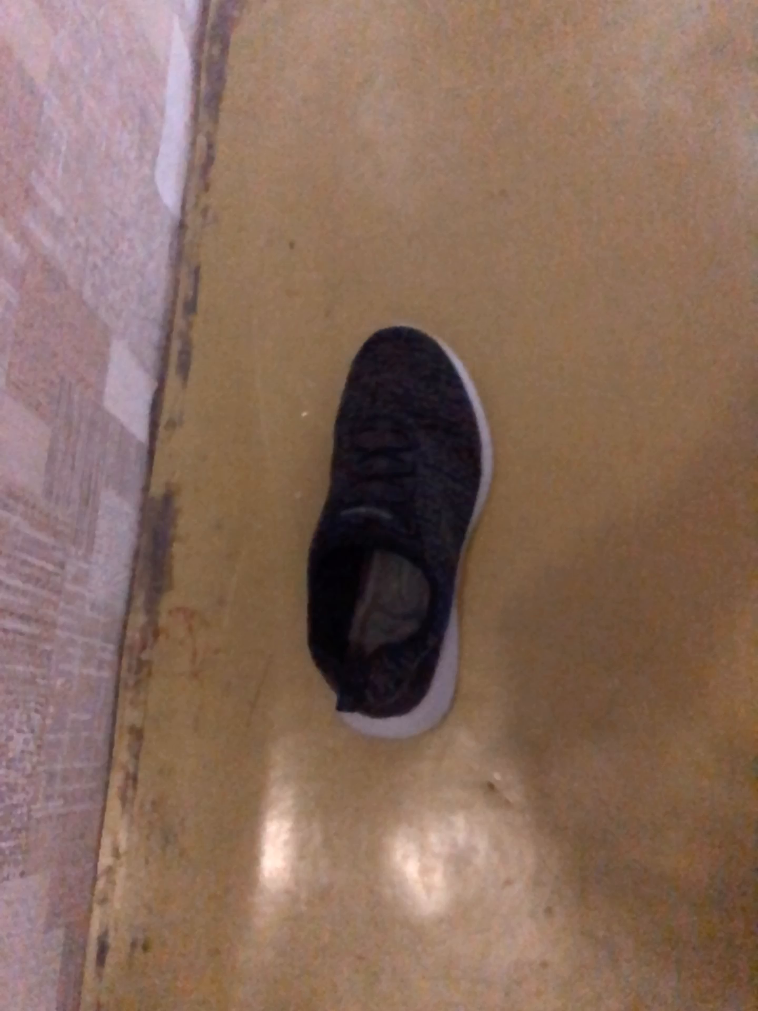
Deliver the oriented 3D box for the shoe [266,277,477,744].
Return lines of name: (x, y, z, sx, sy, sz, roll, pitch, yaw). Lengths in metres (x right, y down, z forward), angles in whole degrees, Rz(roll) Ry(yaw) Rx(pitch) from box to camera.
shoe: (0.007, 0.007, 0.627, 0.120, 0.130, 0.320, 1, 74, 9)
